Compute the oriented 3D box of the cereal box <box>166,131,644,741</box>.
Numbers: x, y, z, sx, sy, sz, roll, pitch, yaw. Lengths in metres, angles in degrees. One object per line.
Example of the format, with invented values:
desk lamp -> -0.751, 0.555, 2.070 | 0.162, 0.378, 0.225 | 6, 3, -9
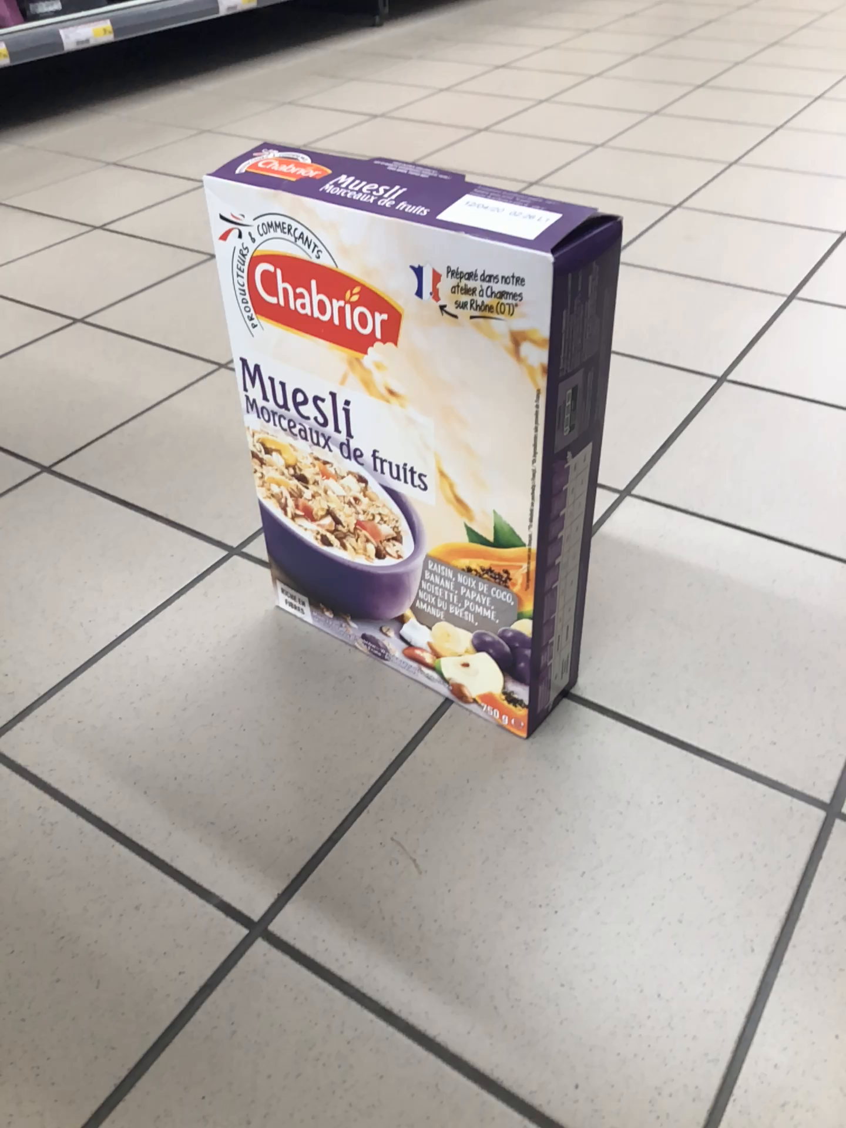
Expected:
cereal box -> -0.011, -0.065, 0.482 | 0.210, 0.258, 0.070 | 25, 45, 30
